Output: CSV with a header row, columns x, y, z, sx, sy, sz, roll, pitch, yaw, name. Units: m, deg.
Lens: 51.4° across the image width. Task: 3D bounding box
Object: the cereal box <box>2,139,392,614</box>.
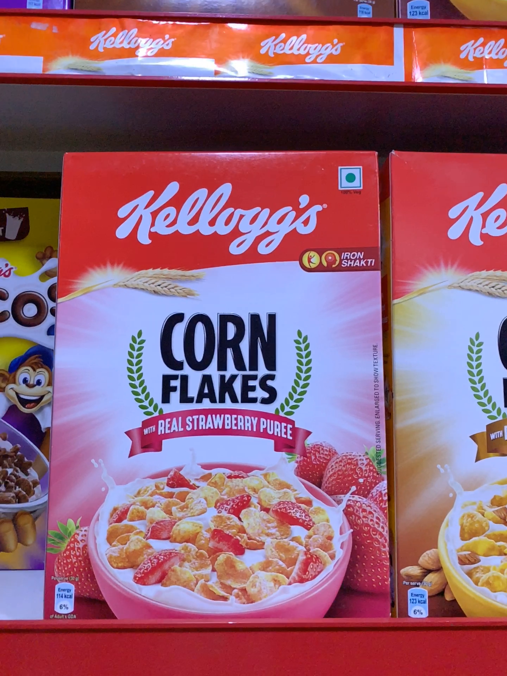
x,y,z,sx,sy,sz,roll,pitch,yaw,name
-0.026,0.016,0.300,0.190,0.241,0.060,1,-6,0,cereal box
